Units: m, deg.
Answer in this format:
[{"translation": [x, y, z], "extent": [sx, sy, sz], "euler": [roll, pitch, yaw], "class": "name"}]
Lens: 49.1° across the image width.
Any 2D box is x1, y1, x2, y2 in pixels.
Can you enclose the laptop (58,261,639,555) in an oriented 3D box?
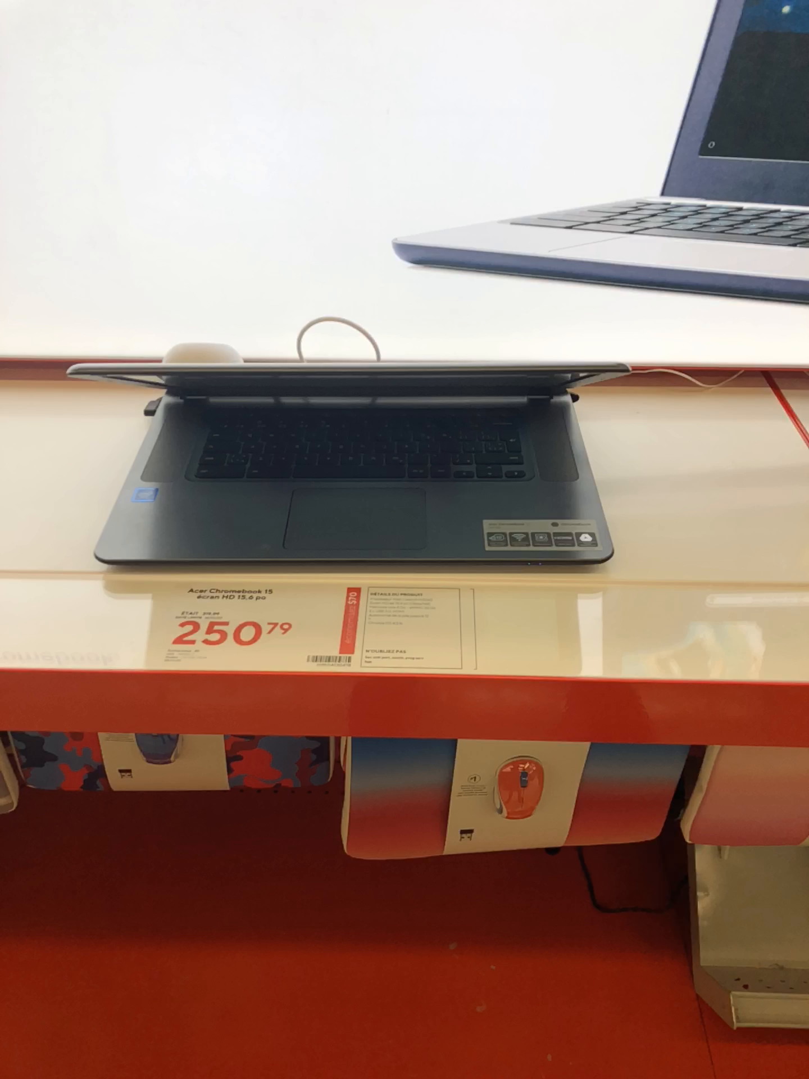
[{"translation": [-0.035, -0.111, 0.684], "extent": [0.363, 0.122, 0.238], "euler": [0, 37, 0], "class": "laptop"}]
